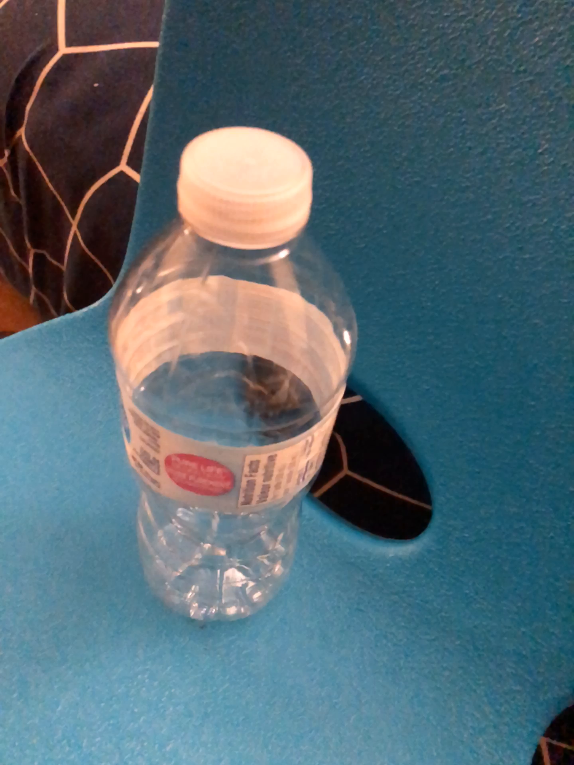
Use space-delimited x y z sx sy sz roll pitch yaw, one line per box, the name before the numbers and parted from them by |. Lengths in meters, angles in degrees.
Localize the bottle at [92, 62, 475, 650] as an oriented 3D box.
bottle | -0.021 0.013 0.204 0.070 0.189 0.070 7 48 -8
